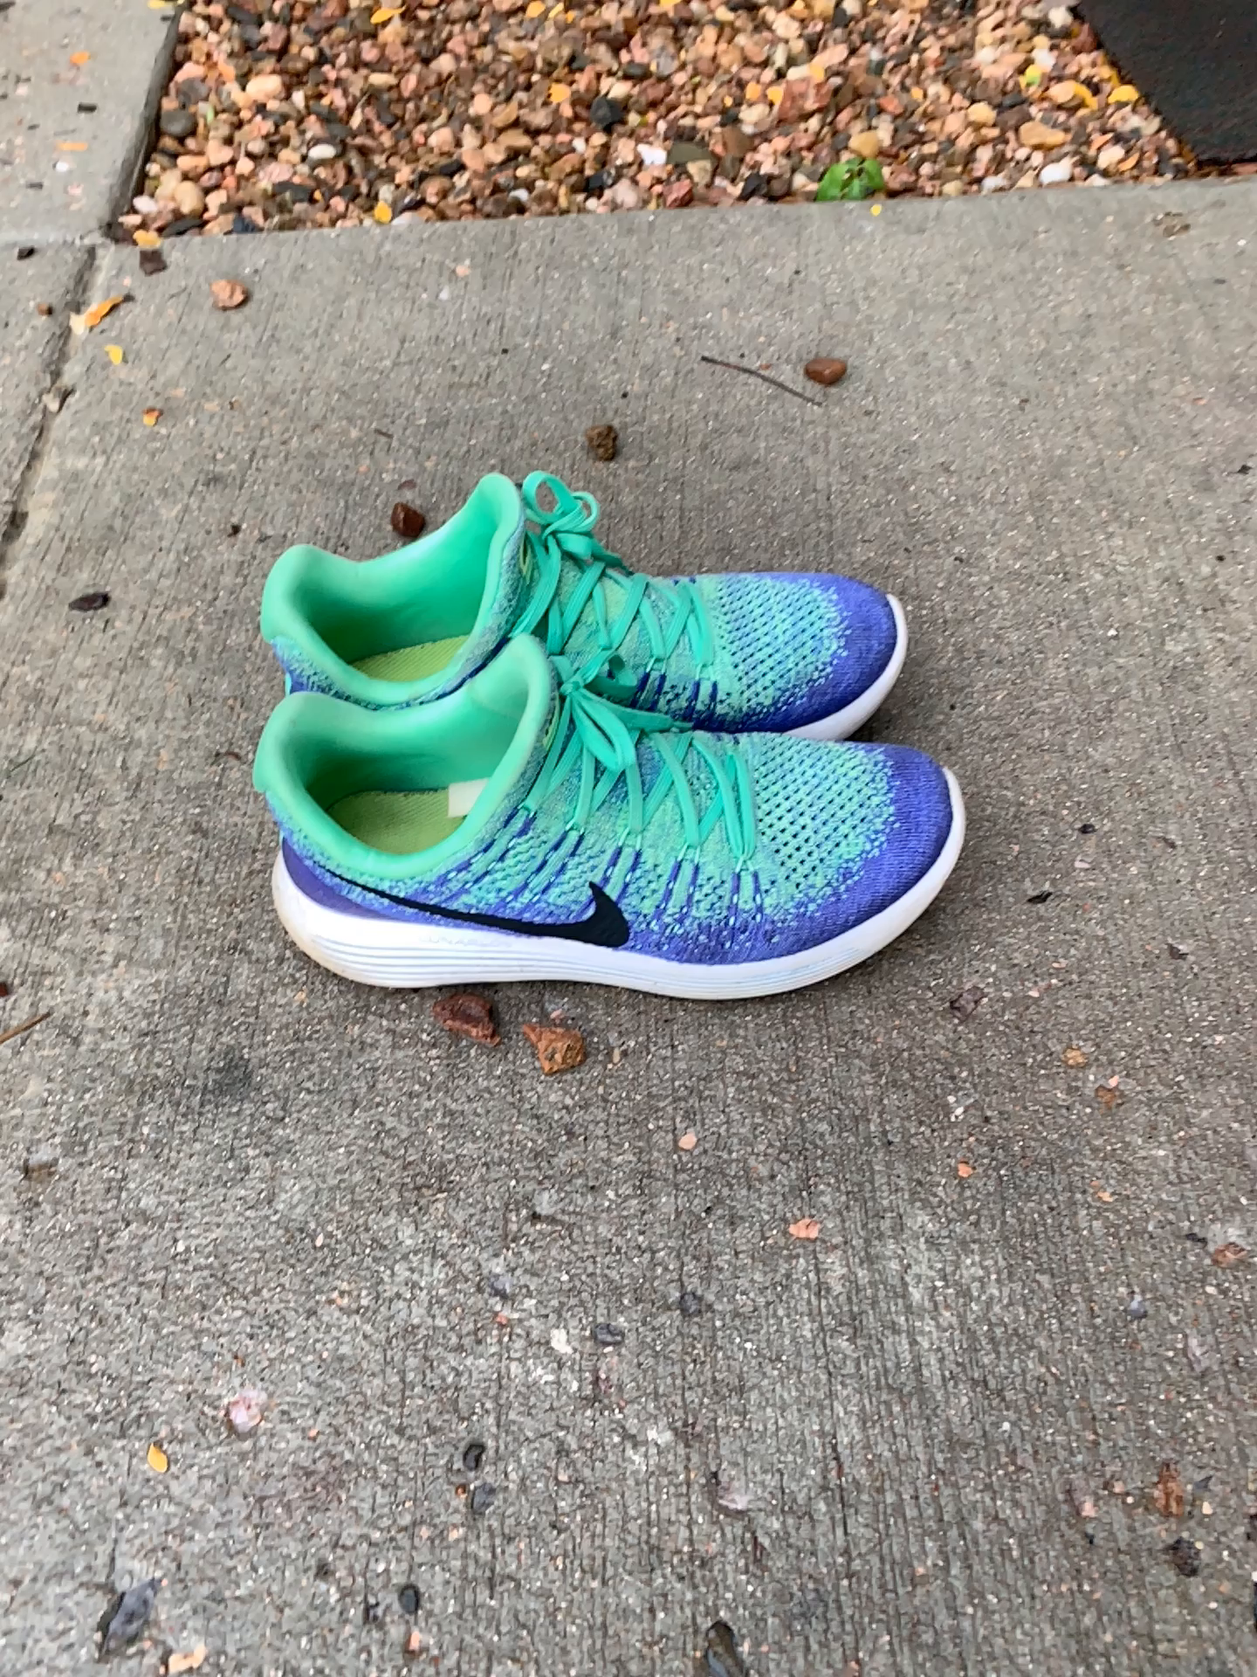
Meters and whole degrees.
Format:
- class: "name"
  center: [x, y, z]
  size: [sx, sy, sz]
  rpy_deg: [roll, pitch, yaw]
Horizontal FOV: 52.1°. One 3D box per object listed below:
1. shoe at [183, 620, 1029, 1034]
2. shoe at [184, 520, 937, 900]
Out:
- class: "shoe"
  center: [-0.009, -0.004, 0.484]
  size: [0.270, 0.110, 0.100]
  rpy_deg: [-2, 49, -4]
- class: "shoe"
  center: [-0.029, -0.057, 0.575]
  size: [0.290, 0.110, 0.120]
  rpy_deg: [-2, 55, -4]
